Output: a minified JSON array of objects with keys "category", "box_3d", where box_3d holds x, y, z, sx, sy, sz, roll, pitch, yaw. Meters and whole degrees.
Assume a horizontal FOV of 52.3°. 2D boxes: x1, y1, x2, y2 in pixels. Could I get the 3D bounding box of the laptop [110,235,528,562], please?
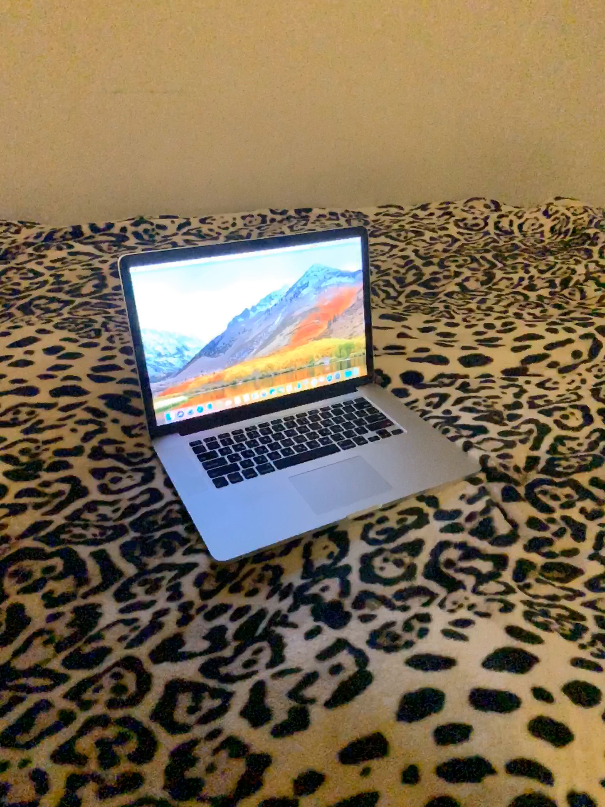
[{"category":"laptop","box_3d":[0.000,-0.037,0.738,0.349,0.222,0.301,-15,36,-24]}]
